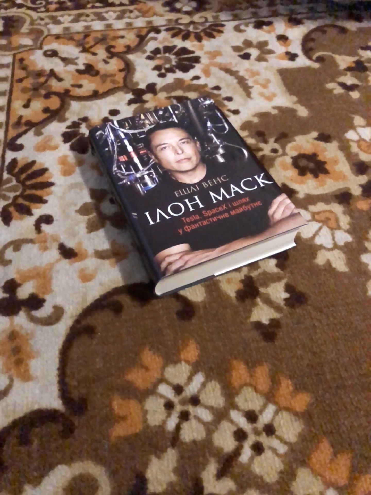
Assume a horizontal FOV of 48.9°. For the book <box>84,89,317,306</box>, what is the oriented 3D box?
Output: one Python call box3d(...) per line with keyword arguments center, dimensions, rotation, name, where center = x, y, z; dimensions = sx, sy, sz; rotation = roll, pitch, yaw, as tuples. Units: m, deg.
box3d(center=(0.005, -0.077, 0.496), dimensions=(0.184, 0.050, 0.251), rotation=(-19, 58, -13), name="book")
